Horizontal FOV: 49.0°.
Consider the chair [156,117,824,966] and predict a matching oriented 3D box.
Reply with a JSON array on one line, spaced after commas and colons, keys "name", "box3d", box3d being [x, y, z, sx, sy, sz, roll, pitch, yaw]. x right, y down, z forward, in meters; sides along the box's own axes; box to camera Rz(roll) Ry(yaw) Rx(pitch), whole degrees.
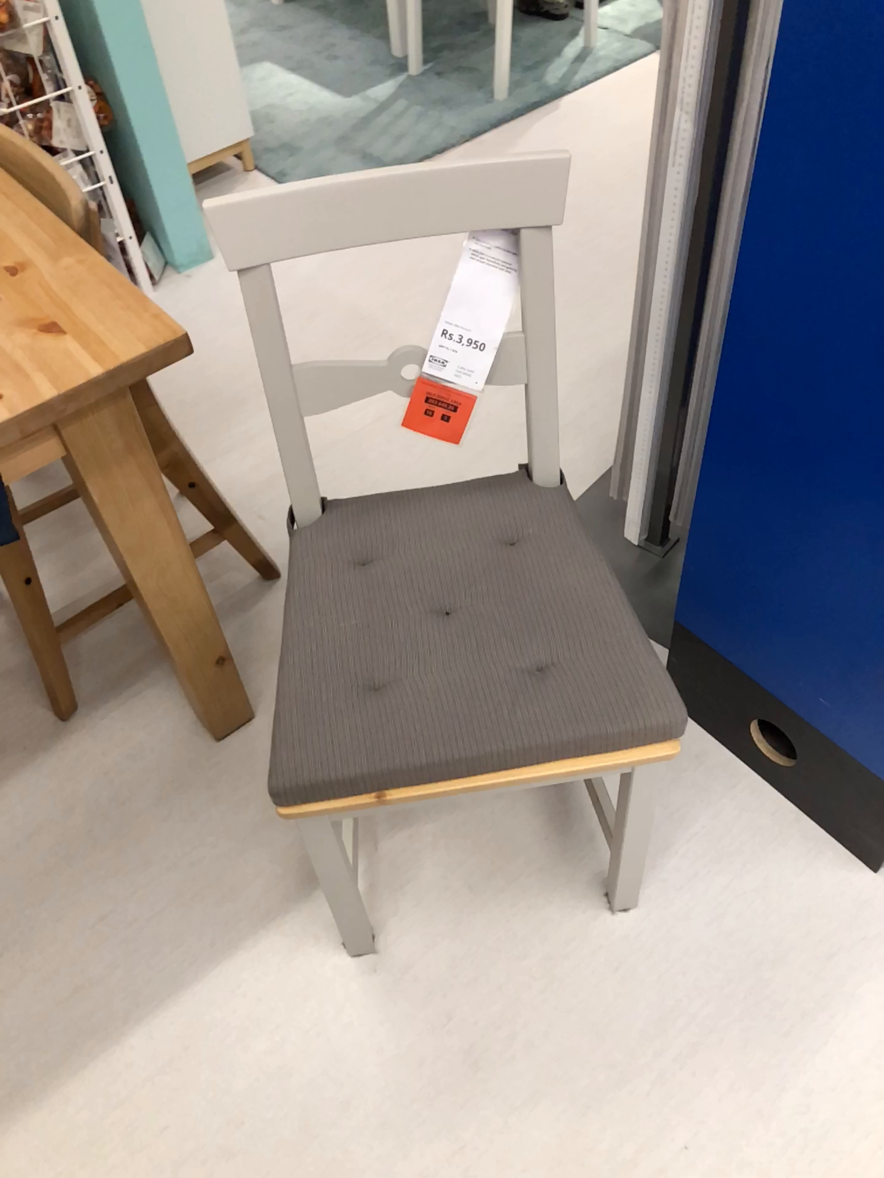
[{"name": "chair", "box3d": [0.026, 0.004, 1.060, 0.430, 0.765, 0.473, -9, 50, -2]}]
